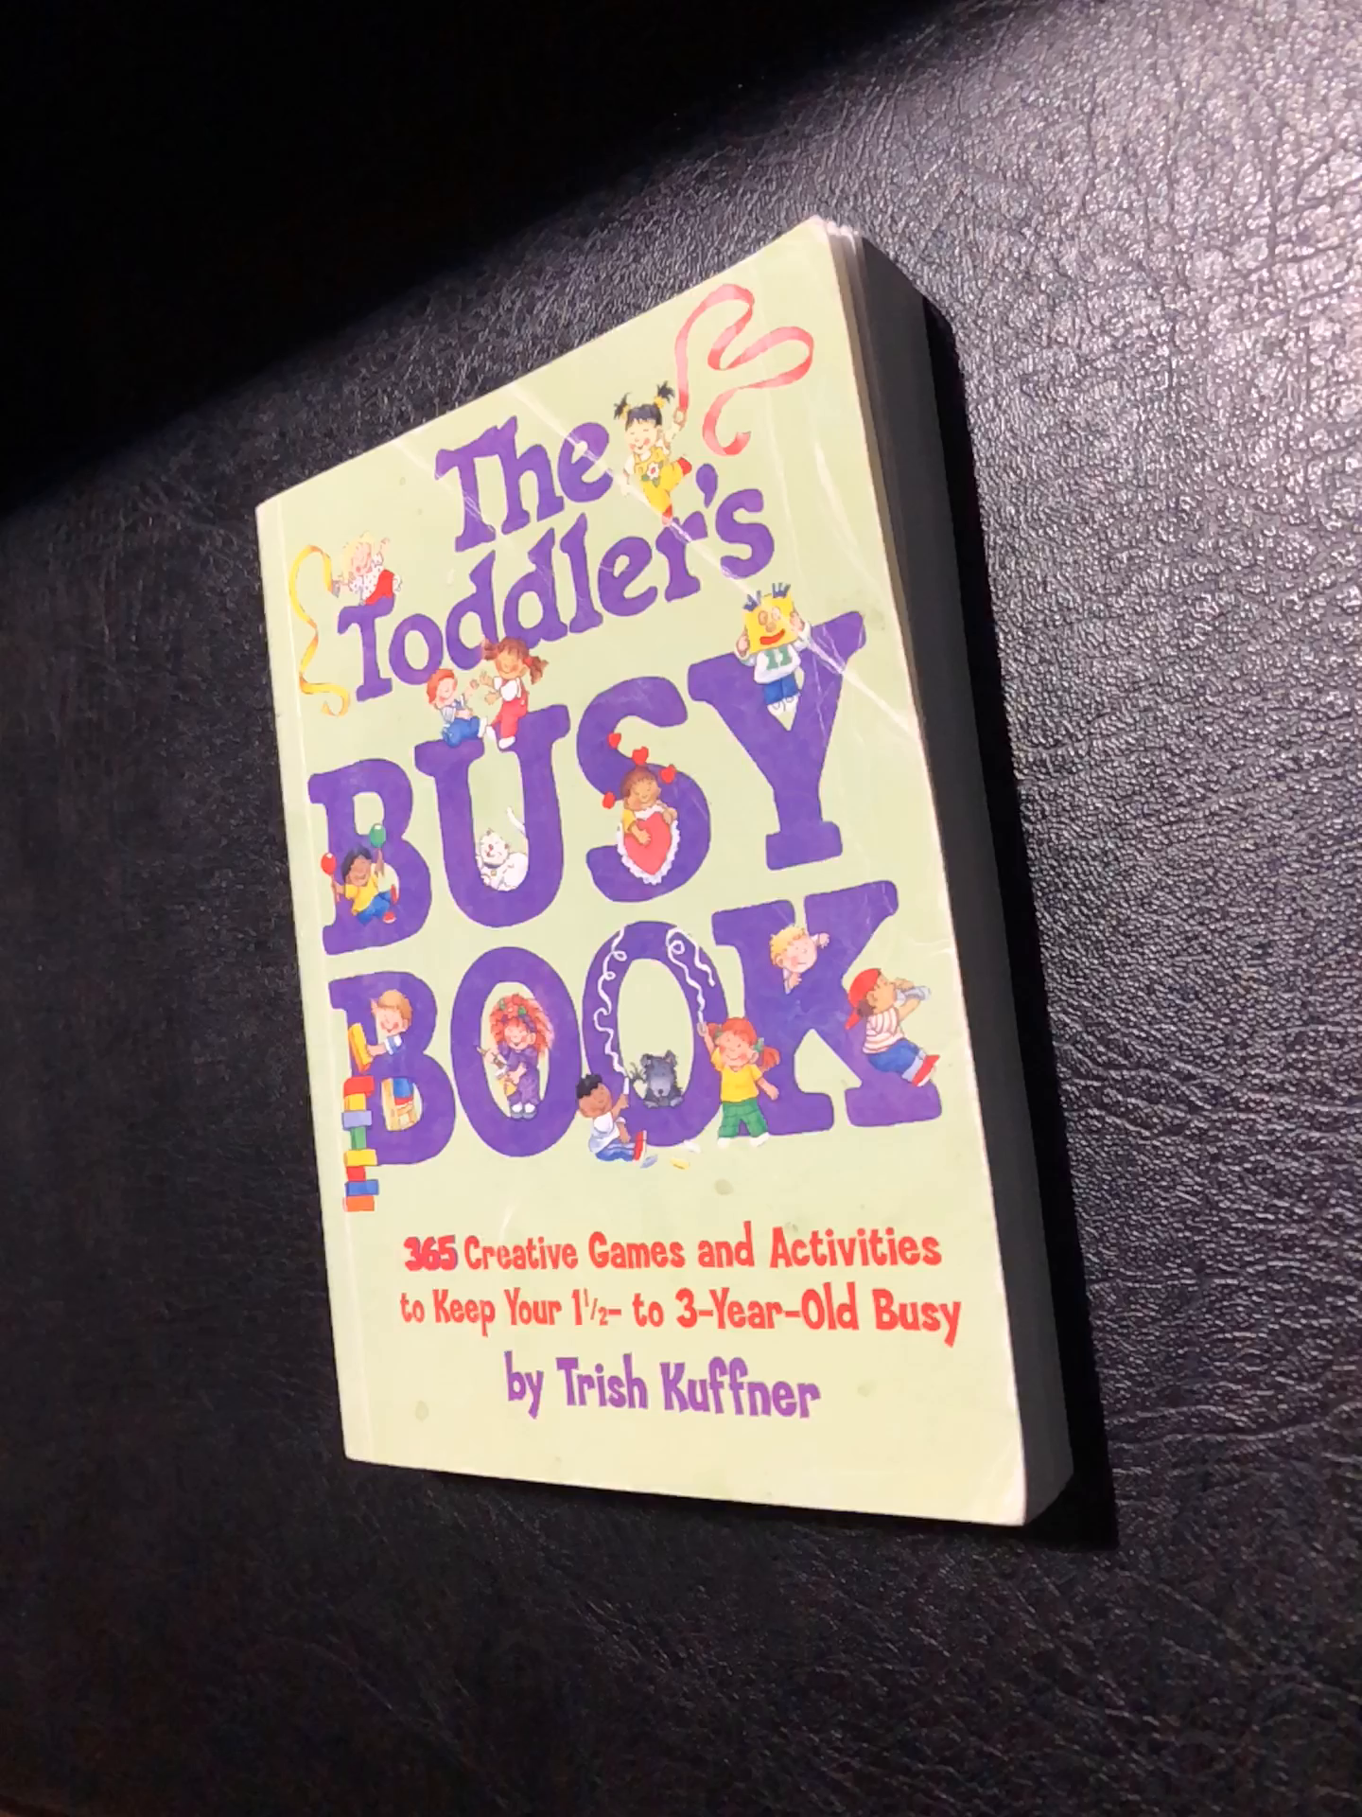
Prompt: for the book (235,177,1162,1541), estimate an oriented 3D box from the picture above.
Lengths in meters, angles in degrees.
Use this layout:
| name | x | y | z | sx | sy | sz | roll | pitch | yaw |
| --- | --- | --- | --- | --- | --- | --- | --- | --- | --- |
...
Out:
| name | x | y | z | sx | sy | sz | roll | pitch | yaw |
| --- | --- | --- | --- | --- | --- | --- | --- | --- | --- |
| book | -0.008 | 0.000 | 0.244 | 0.136 | 0.033 | 0.176 | -11 | 83 | 35 |
